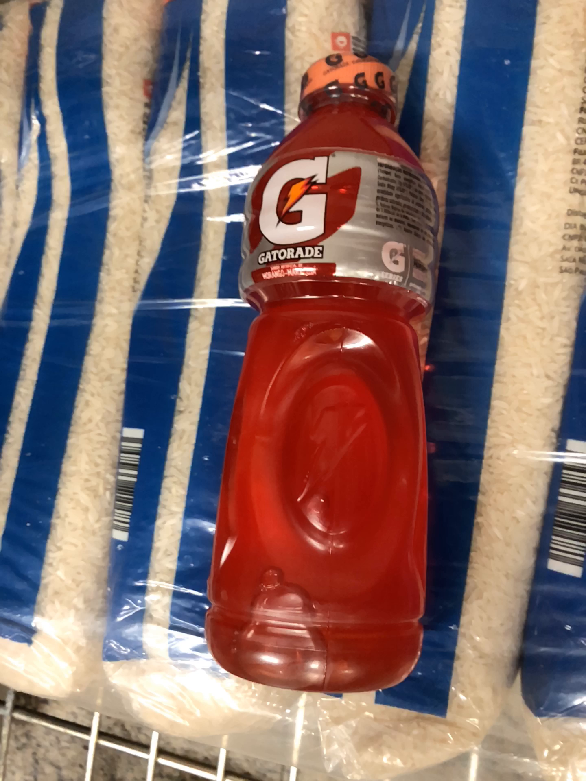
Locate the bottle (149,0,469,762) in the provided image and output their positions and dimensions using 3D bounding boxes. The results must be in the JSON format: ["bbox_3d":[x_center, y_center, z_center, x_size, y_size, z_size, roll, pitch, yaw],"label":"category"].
[{"bbox_3d":[0.011,-0.016,0.211,0.080,0.060,0.220,1,86,19],"label":"bottle"}]
